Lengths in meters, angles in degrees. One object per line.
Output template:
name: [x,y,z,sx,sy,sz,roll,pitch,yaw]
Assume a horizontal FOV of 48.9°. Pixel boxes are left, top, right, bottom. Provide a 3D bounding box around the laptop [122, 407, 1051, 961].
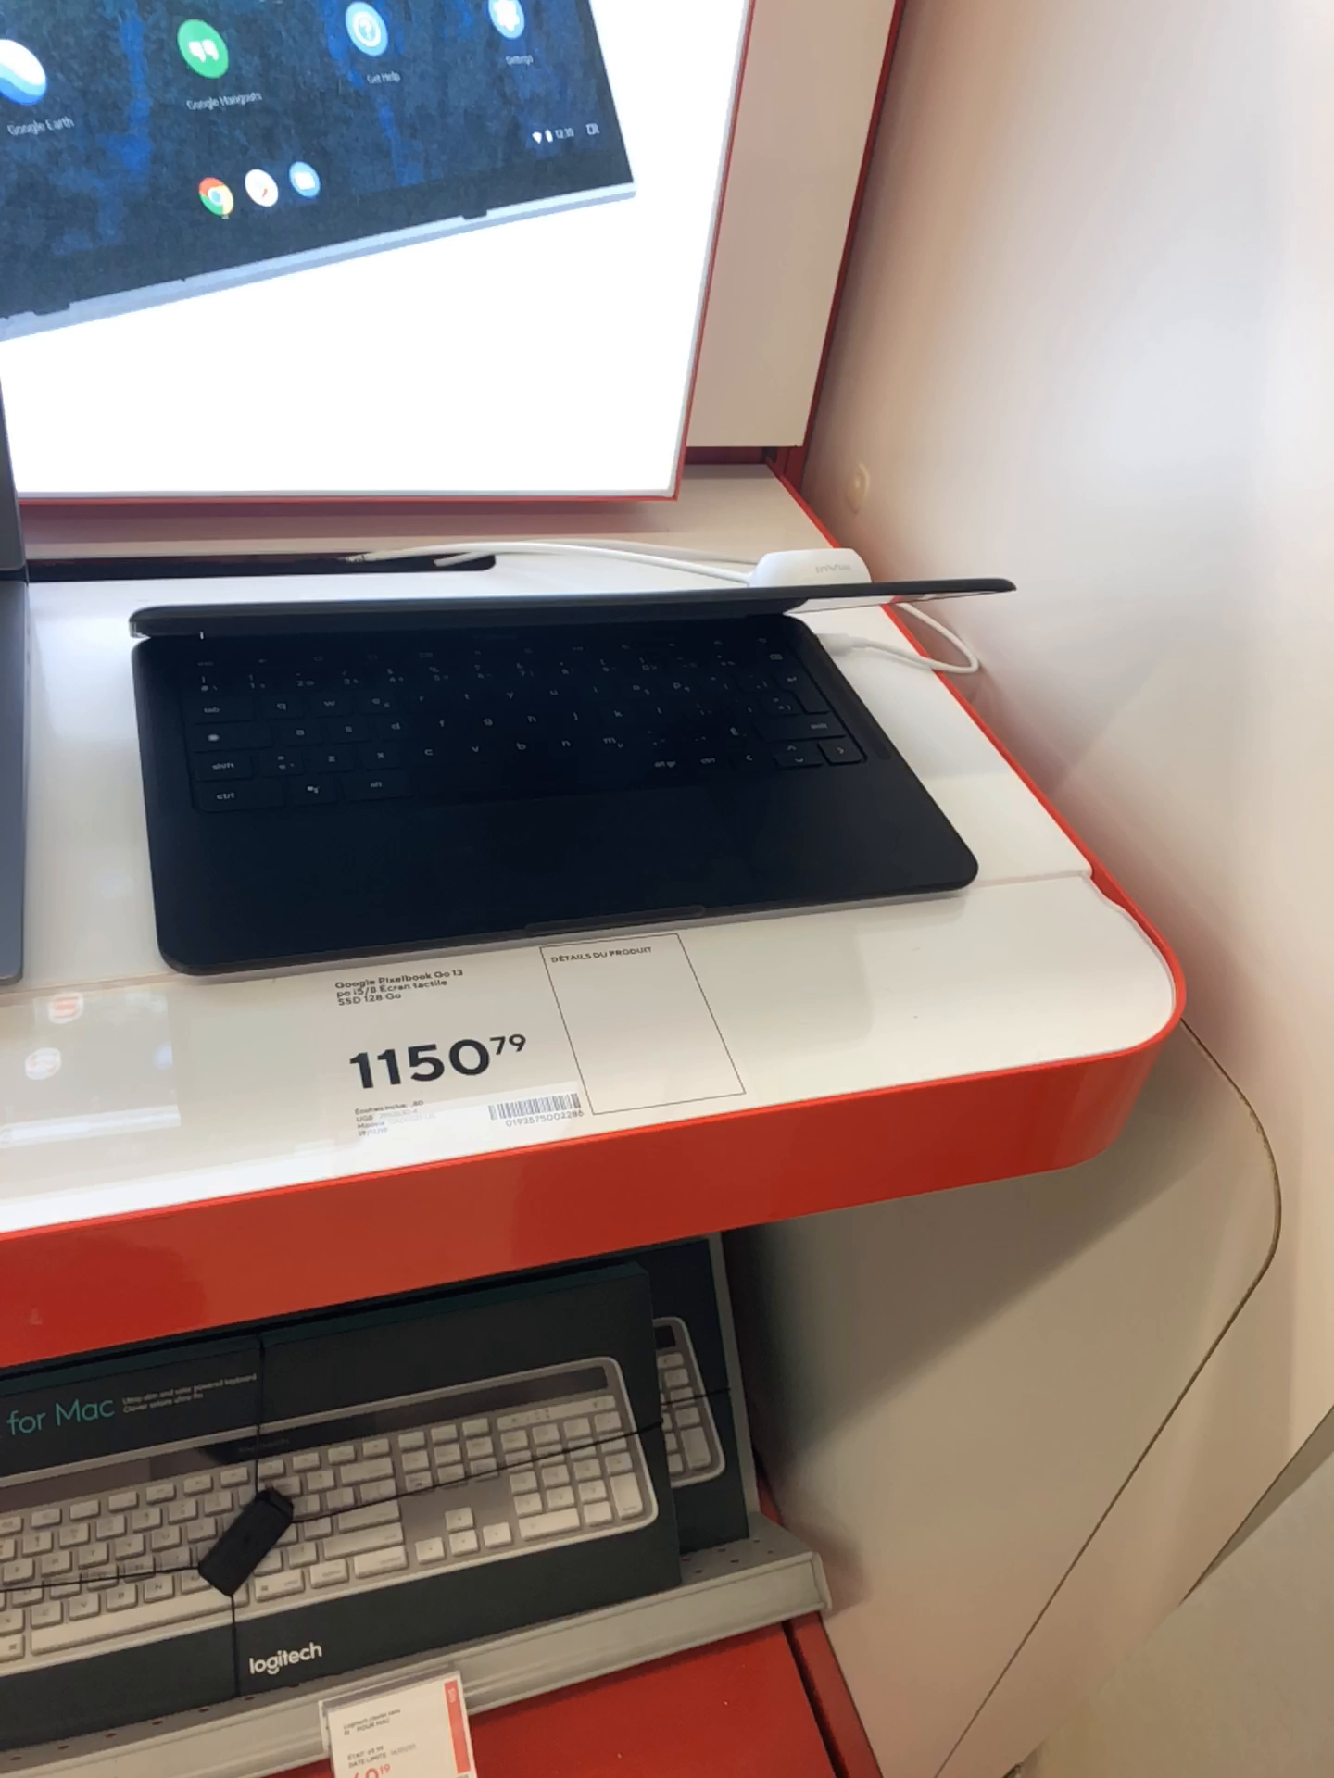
laptop: [-0.044,-0.095,0.569,0.298,0.106,0.200,-6,41,-19]
